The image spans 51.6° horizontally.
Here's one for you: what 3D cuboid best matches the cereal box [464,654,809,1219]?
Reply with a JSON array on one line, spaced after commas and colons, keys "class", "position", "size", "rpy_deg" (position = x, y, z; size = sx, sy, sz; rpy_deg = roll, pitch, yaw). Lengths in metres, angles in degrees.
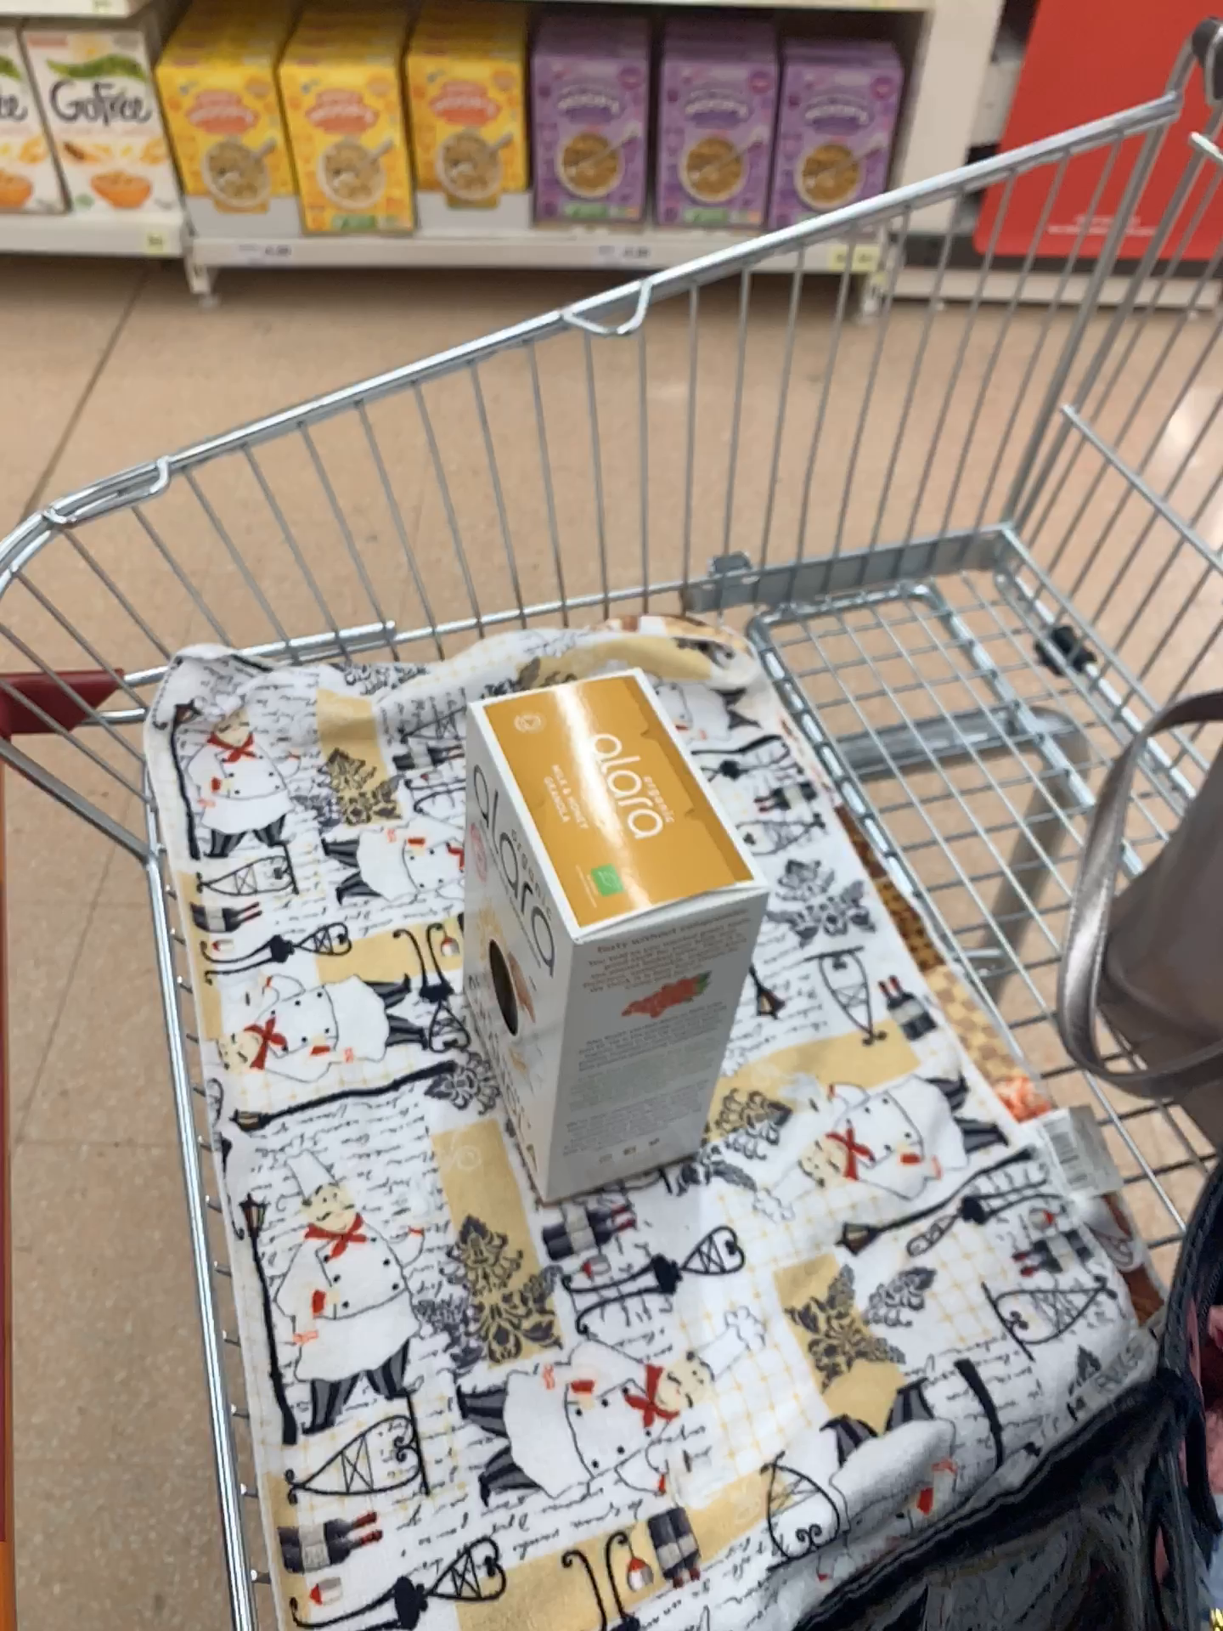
[{"class": "cereal box", "position": [-0.003, 0.055, 0.517], "size": [0.080, 0.198, 0.121], "rpy_deg": [-15, 52, -18]}]
